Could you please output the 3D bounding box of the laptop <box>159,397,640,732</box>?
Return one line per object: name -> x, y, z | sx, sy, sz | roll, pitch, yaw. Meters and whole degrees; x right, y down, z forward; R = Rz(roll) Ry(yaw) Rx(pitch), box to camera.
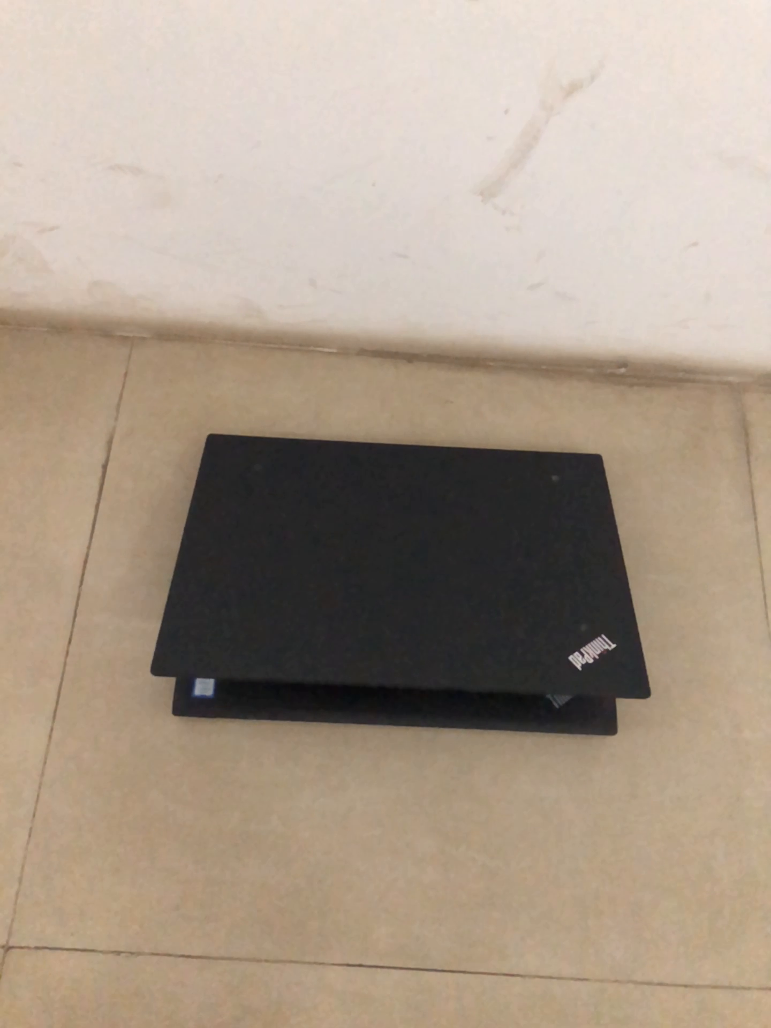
laptop -> 0.014, 0.039, 0.687 | 0.349, 0.071, 0.237 | 3, 70, 0
